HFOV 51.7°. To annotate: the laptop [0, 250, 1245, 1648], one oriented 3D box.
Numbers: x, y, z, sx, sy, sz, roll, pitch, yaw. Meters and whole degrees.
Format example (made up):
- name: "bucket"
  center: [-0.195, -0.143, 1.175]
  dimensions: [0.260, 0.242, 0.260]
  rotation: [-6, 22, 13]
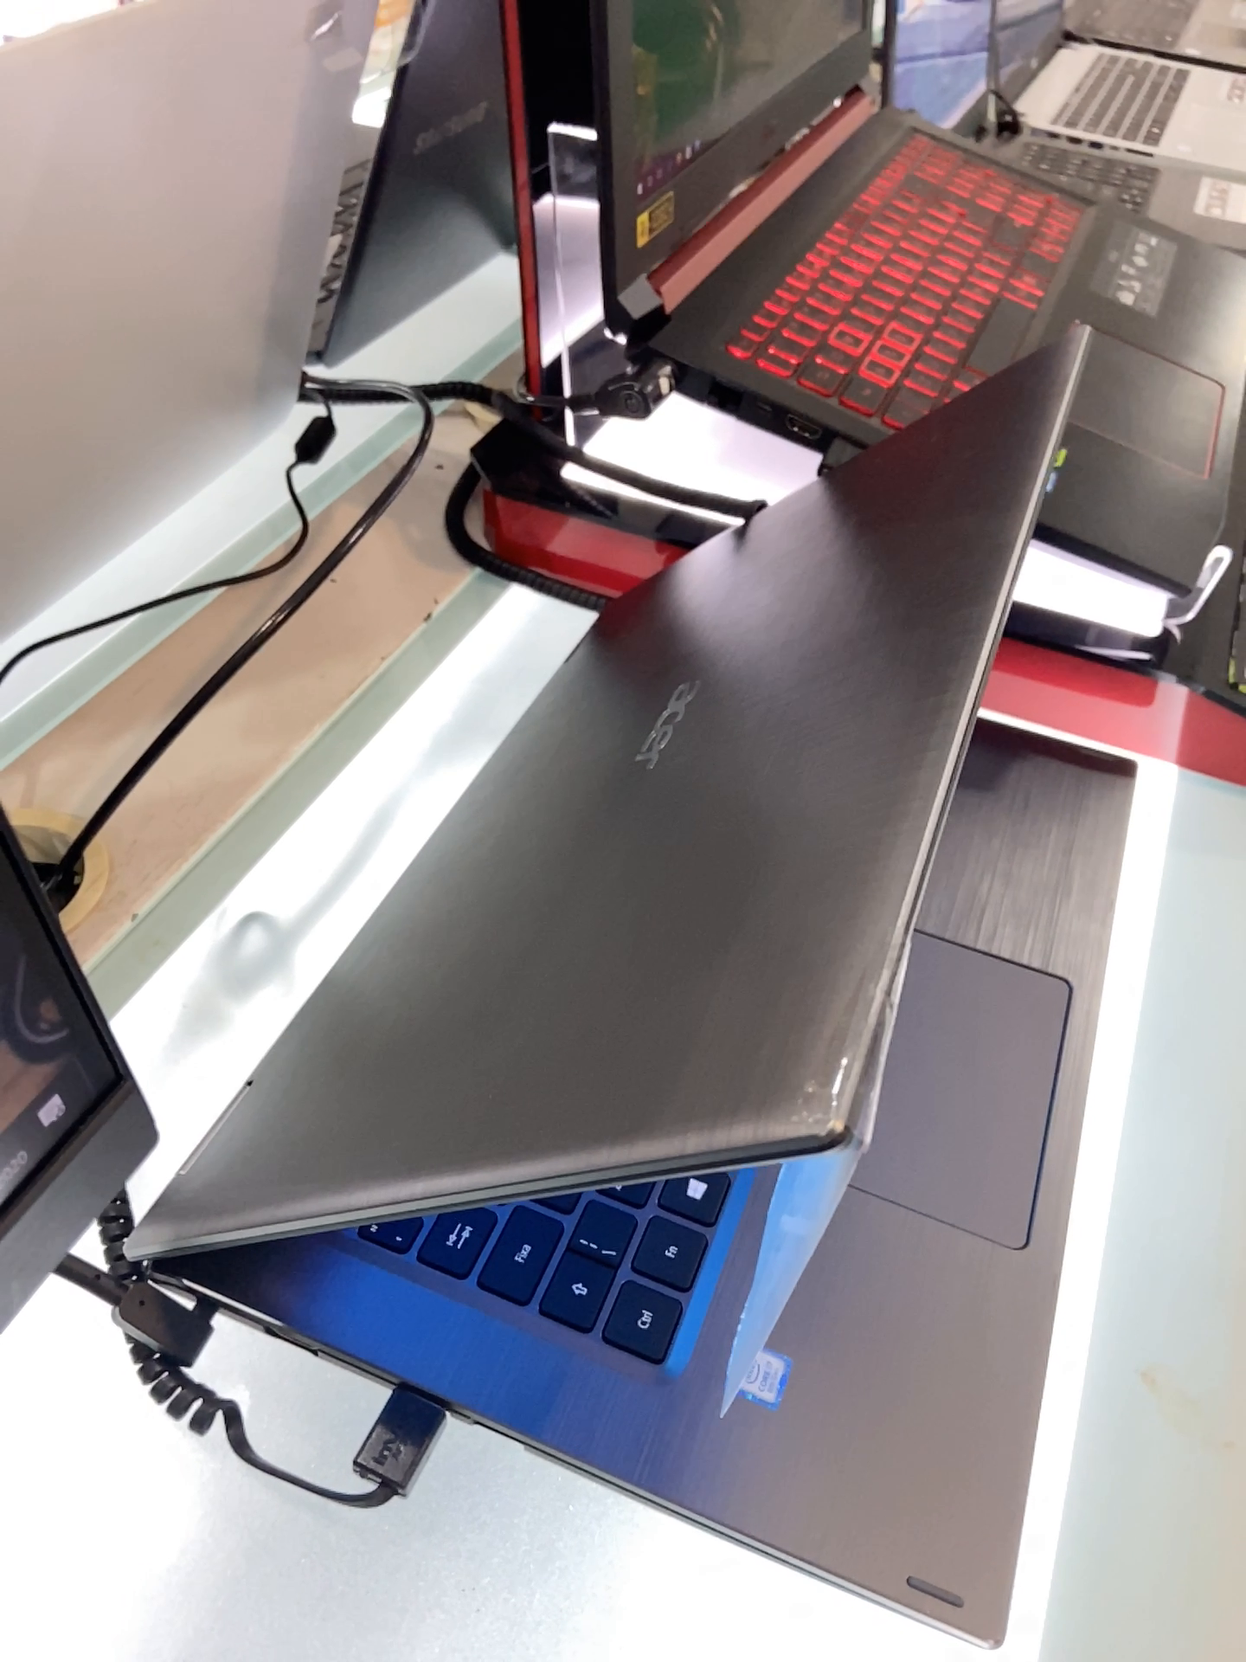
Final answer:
- name: "laptop"
  center: [0.044, -0.014, 0.366]
  dimensions: [0.218, 0.154, 0.330]
  rotation: [18, 44, 13]
